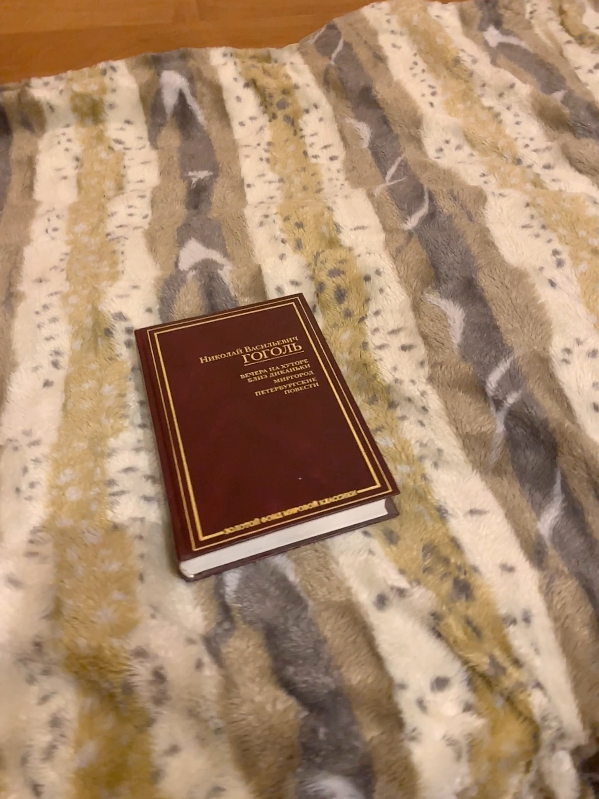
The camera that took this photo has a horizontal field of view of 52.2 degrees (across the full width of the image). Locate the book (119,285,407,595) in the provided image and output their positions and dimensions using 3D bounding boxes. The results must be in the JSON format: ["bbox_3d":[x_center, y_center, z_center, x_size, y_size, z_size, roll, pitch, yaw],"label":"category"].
[{"bbox_3d":[-0.037,0.013,0.443,0.149,0.040,0.211,-15,51,-11],"label":"book"}]
